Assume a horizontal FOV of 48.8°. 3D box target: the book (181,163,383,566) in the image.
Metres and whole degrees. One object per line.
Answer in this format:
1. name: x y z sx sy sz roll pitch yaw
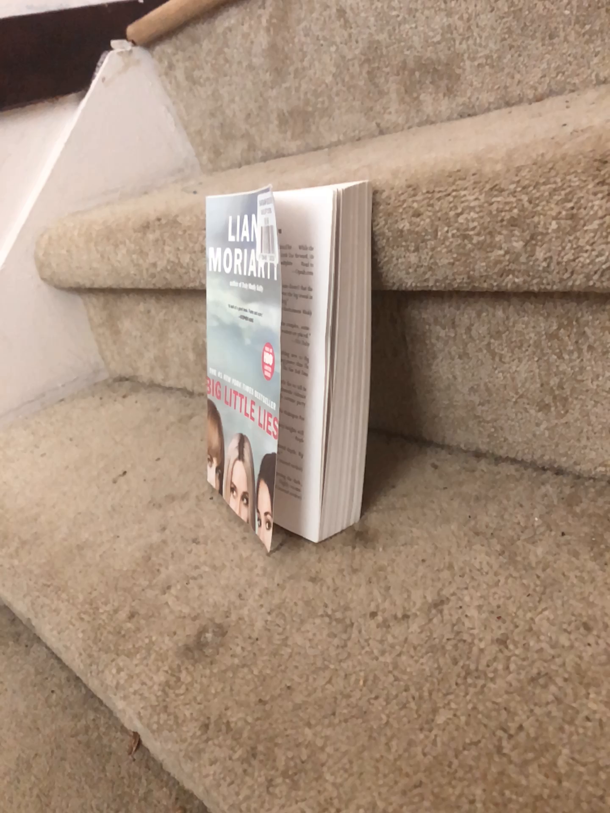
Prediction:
1. book: -0.025 -0.034 0.425 0.050 0.209 0.161 -6 15 -30
